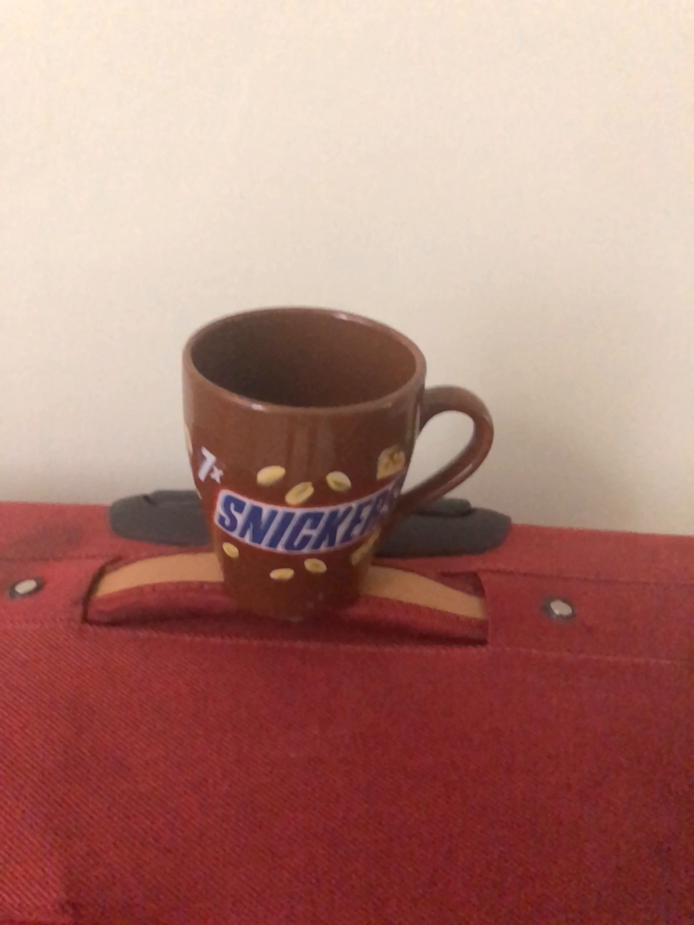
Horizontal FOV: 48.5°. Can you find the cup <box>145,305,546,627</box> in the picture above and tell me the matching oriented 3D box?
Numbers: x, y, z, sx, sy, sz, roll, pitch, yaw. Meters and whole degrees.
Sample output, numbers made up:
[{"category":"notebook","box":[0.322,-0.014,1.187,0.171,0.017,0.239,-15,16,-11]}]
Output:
[{"category":"cup","box":[-0.002,-0.003,0.278,0.115,0.080,0.088,-1,33,-2]}]
